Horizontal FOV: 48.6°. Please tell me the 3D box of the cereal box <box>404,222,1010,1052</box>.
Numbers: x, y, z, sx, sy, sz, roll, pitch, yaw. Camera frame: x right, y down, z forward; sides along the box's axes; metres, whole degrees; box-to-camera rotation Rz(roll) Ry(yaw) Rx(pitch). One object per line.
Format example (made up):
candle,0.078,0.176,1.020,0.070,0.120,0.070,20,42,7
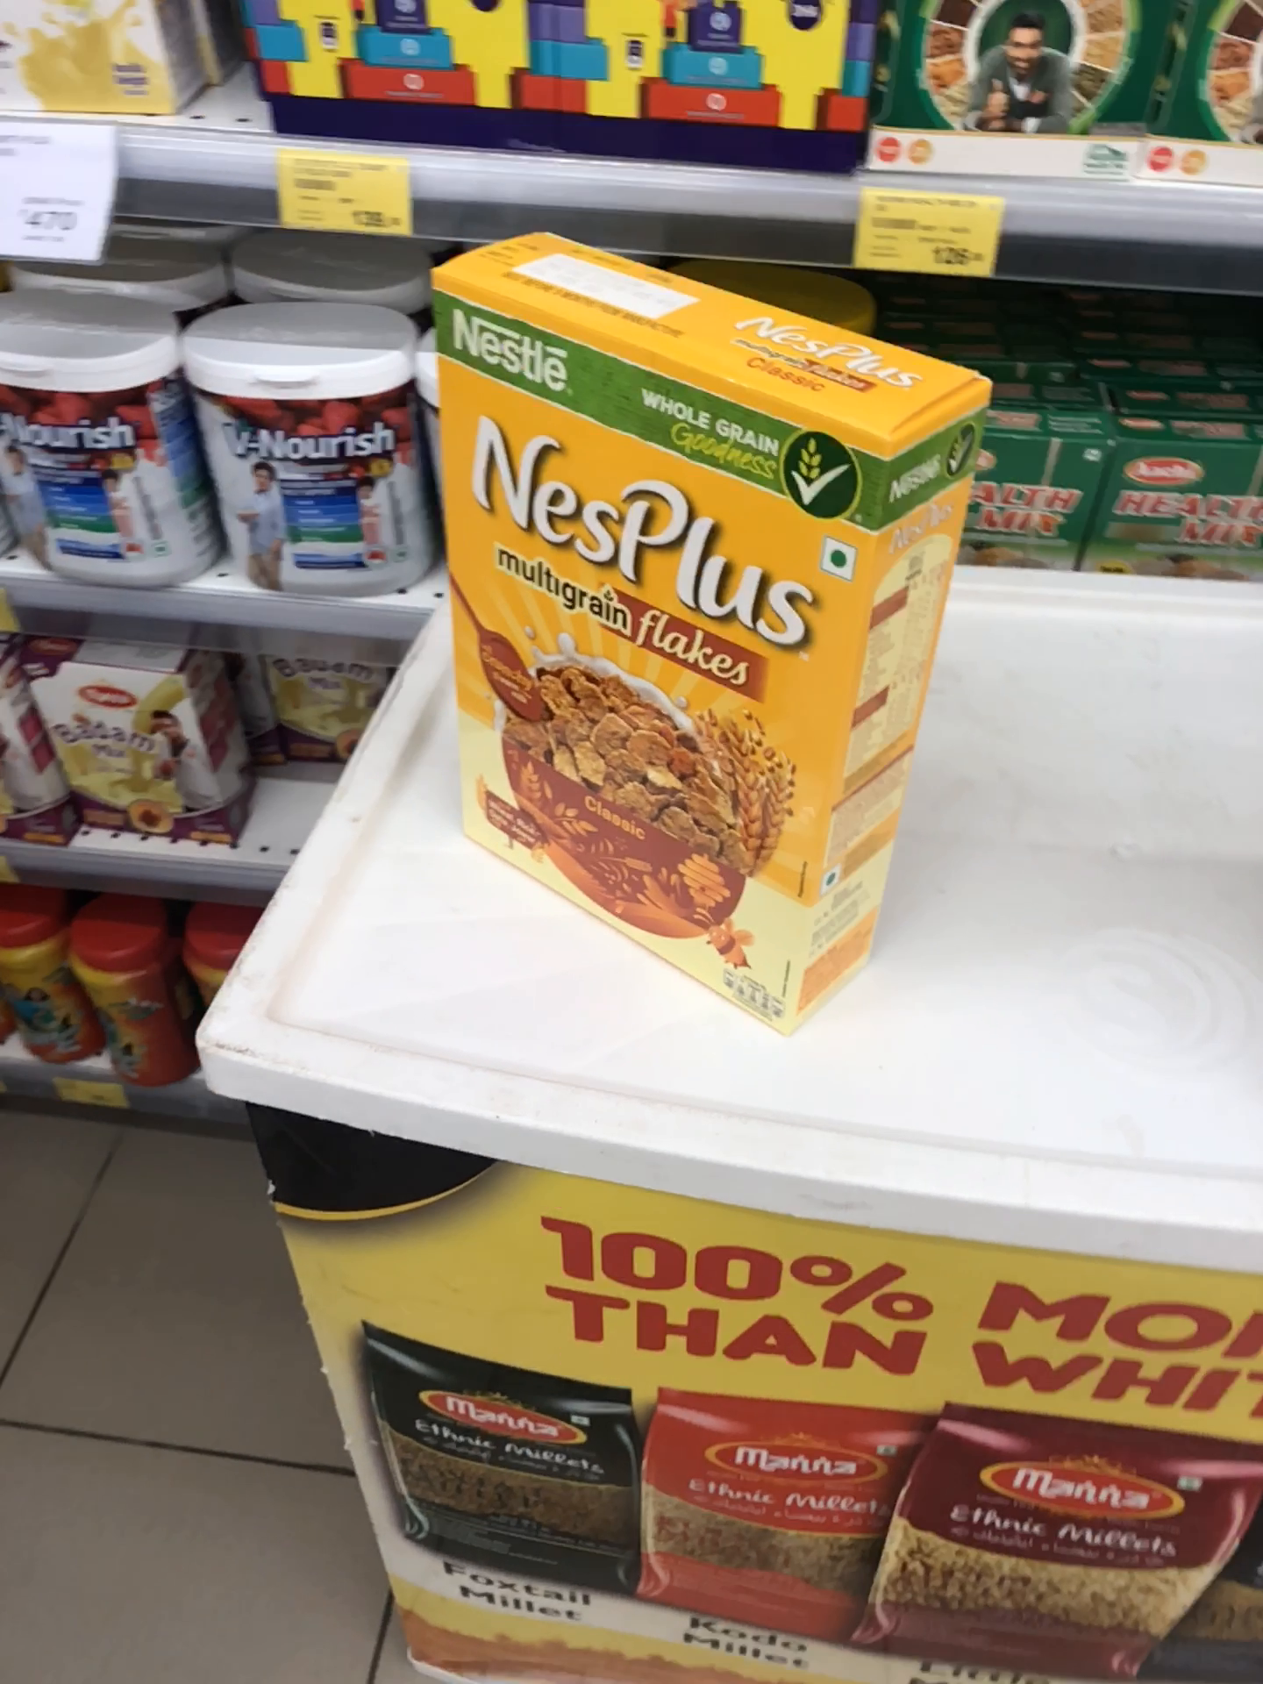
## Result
cereal box,0.017,-0.075,0.556,0.201,0.269,0.070,30,49,28
